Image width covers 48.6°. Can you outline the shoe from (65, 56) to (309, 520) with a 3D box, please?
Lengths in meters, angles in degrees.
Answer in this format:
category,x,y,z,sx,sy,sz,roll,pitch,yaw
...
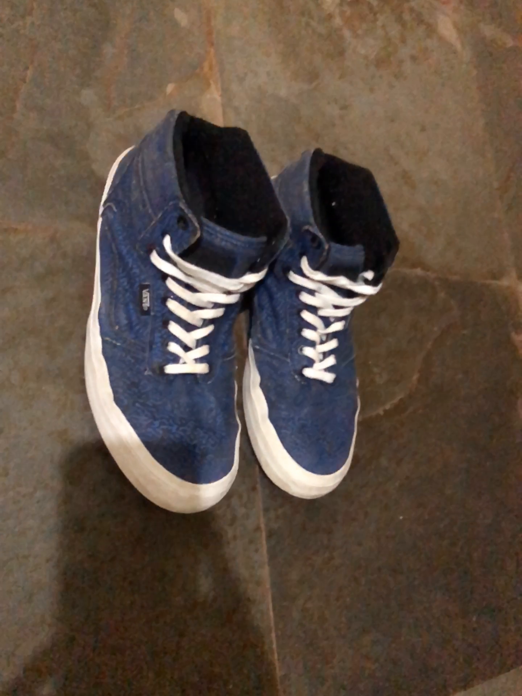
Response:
category,x,y,z,sx,sy,sz,roll,pitch,yaw
shoe,-0.062,-0.031,0.408,0.120,0.109,0.280,4,74,-33

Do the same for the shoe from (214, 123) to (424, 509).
category,x,y,z,sx,sy,sz,roll,pitch,yaw
shoe,0.040,-0.018,0.468,0.120,0.090,0.280,7,73,-32
